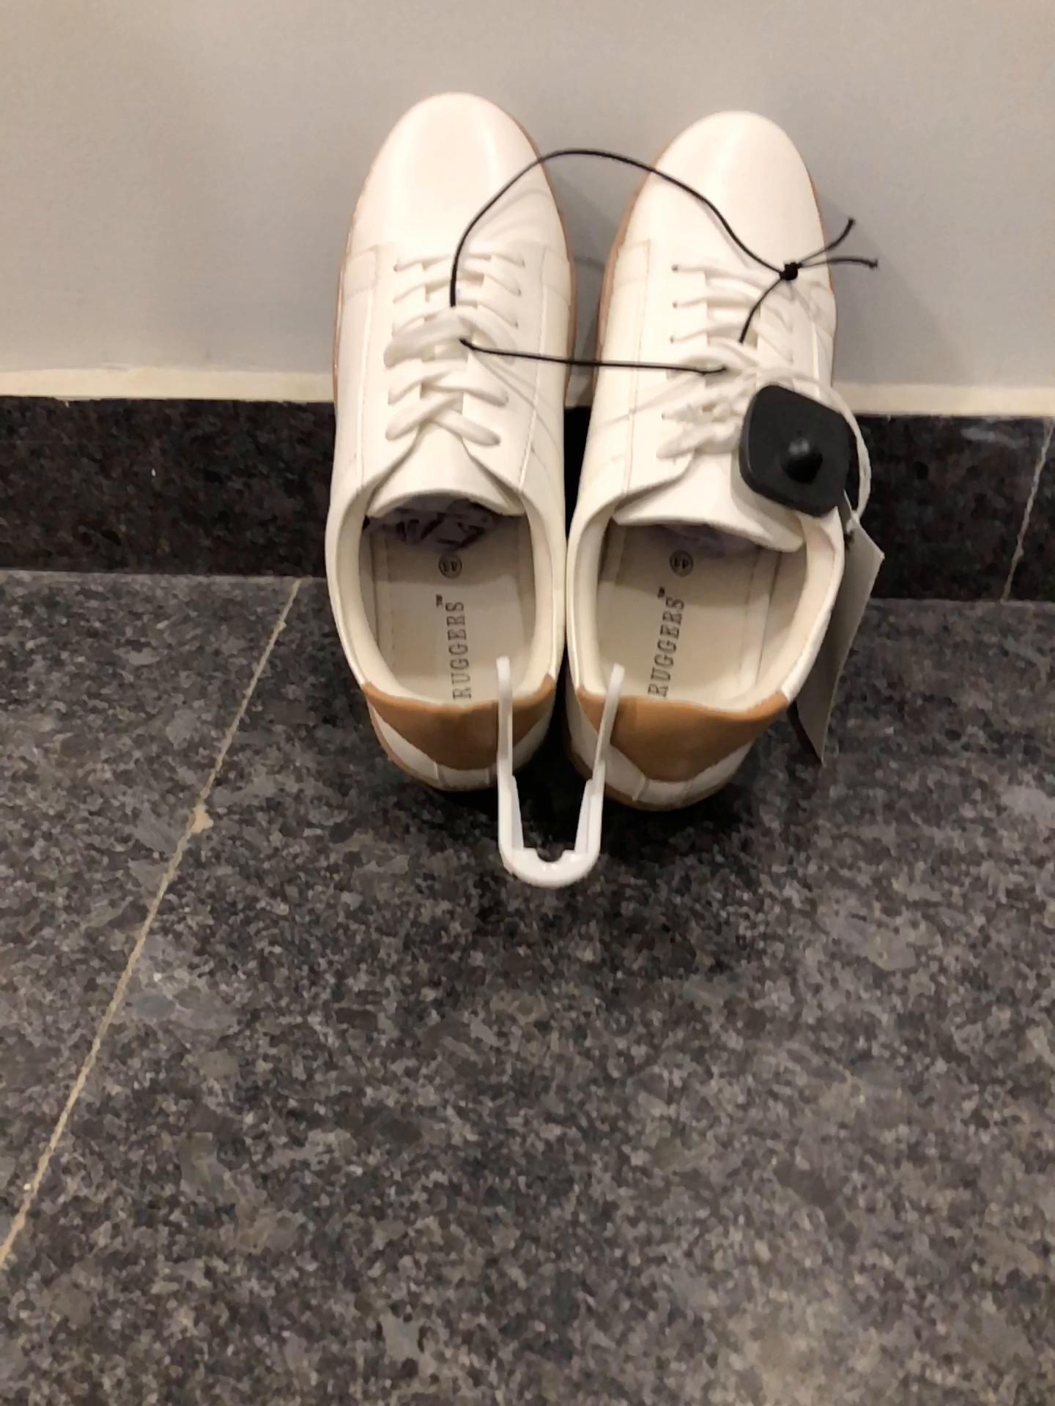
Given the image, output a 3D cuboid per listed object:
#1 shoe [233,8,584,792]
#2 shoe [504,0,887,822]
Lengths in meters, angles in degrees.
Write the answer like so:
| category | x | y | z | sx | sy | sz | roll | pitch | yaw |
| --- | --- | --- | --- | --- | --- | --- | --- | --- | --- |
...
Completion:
| category | x | y | z | sx | sy | sz | roll | pitch | yaw |
| --- | --- | --- | --- | --- | --- | --- | --- | --- | --- |
| shoe | -0.032 | -0.111 | 0.428 | 0.101 | 0.087 | 0.273 | 1 | 73 | 2 |
| shoe | 0.059 | -0.105 | 0.428 | 0.107 | 0.103 | 0.275 | 6 | 75 | 0 |
